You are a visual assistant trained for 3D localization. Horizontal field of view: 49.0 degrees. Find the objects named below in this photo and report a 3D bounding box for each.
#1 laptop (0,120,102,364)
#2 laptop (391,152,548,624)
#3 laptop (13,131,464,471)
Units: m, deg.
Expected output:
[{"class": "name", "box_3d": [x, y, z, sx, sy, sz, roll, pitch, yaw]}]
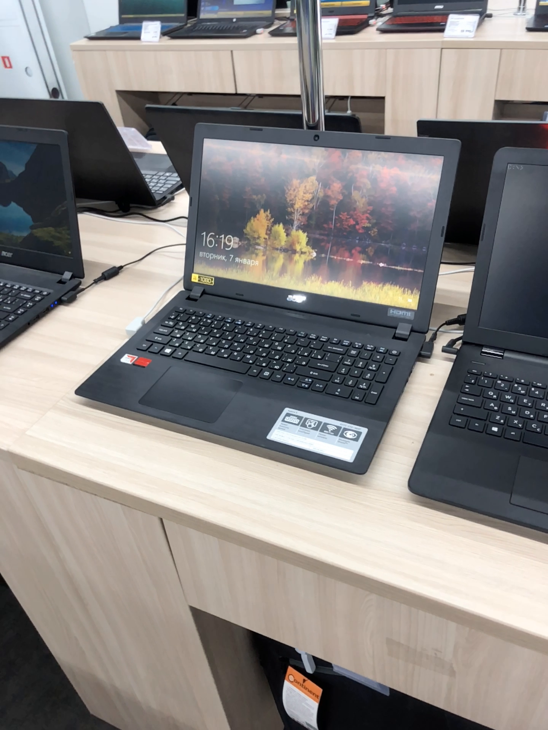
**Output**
[{"class": "laptop", "box_3d": [-0.511, -0.209, 0.927, 0.306, 0.214, 0.302, 13, 43, 23]}, {"class": "laptop", "box_3d": [0.360, -0.025, 0.565, 0.378, 0.212, 0.339, 14, 42, 24]}, {"class": "laptop", "box_3d": [-0.009, -0.117, 0.741, 0.373, 0.208, 0.368, 12, 42, 23]}]
